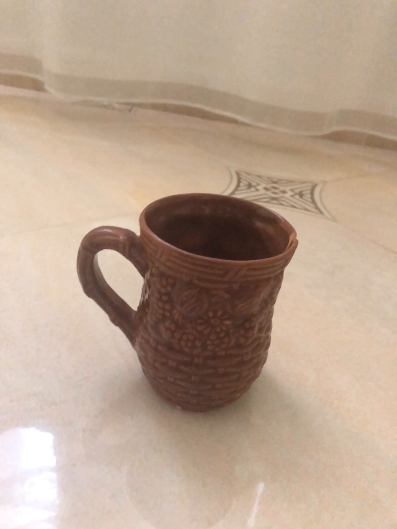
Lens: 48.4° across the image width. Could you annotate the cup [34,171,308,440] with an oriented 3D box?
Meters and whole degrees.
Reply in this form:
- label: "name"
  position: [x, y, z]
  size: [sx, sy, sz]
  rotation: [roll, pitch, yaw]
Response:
- label: "cup"
  position: [-0.010, 0.014, 0.217]
  size: [0.104, 0.081, 0.073]
  rotation: [14, 30, 11]
